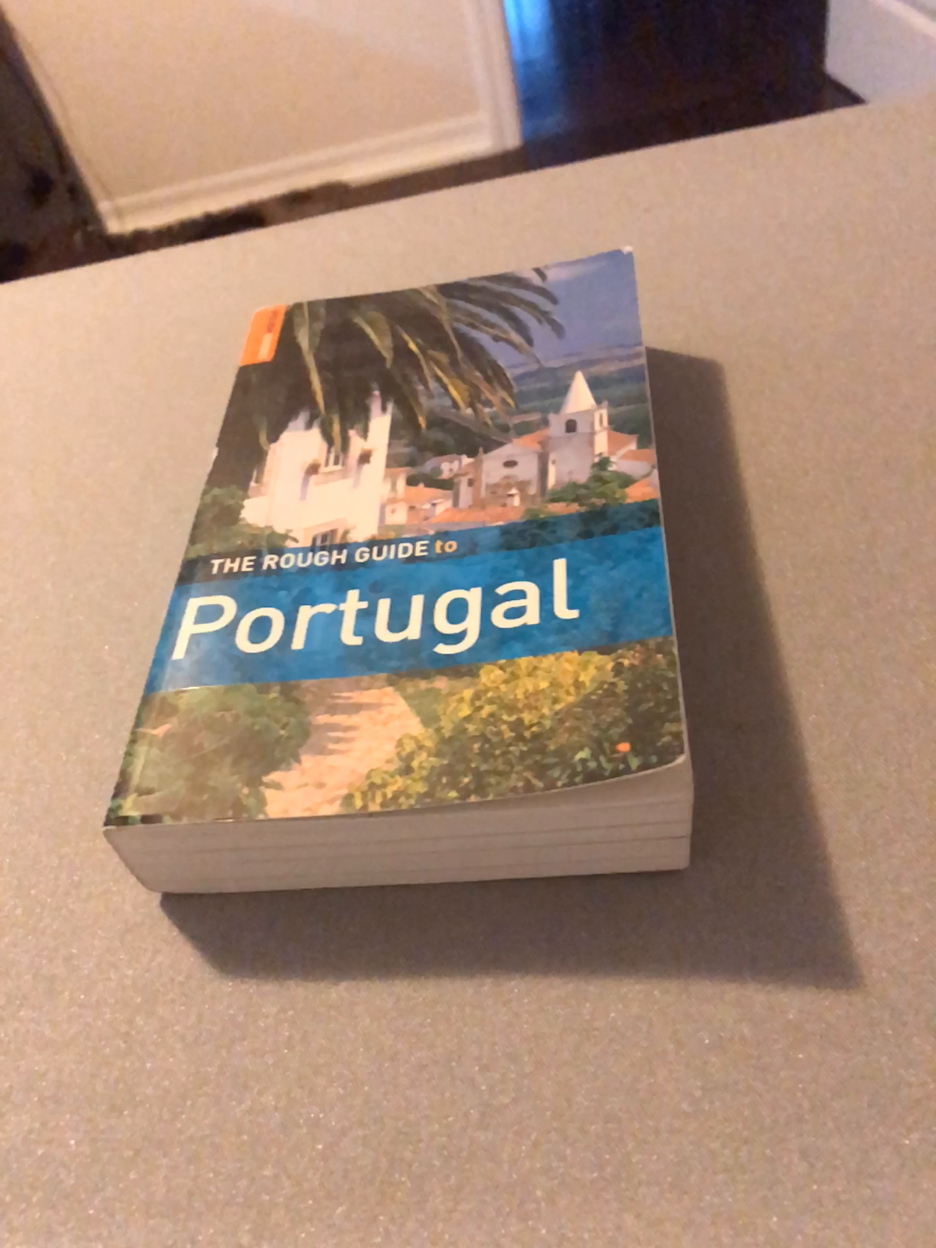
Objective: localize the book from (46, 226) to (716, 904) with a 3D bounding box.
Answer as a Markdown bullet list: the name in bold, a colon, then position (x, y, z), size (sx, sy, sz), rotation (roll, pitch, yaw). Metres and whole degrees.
- **book**: position (-0.014, -0.030, 0.292), size (0.139, 0.040, 0.205), rotation (-6, 48, 9)
